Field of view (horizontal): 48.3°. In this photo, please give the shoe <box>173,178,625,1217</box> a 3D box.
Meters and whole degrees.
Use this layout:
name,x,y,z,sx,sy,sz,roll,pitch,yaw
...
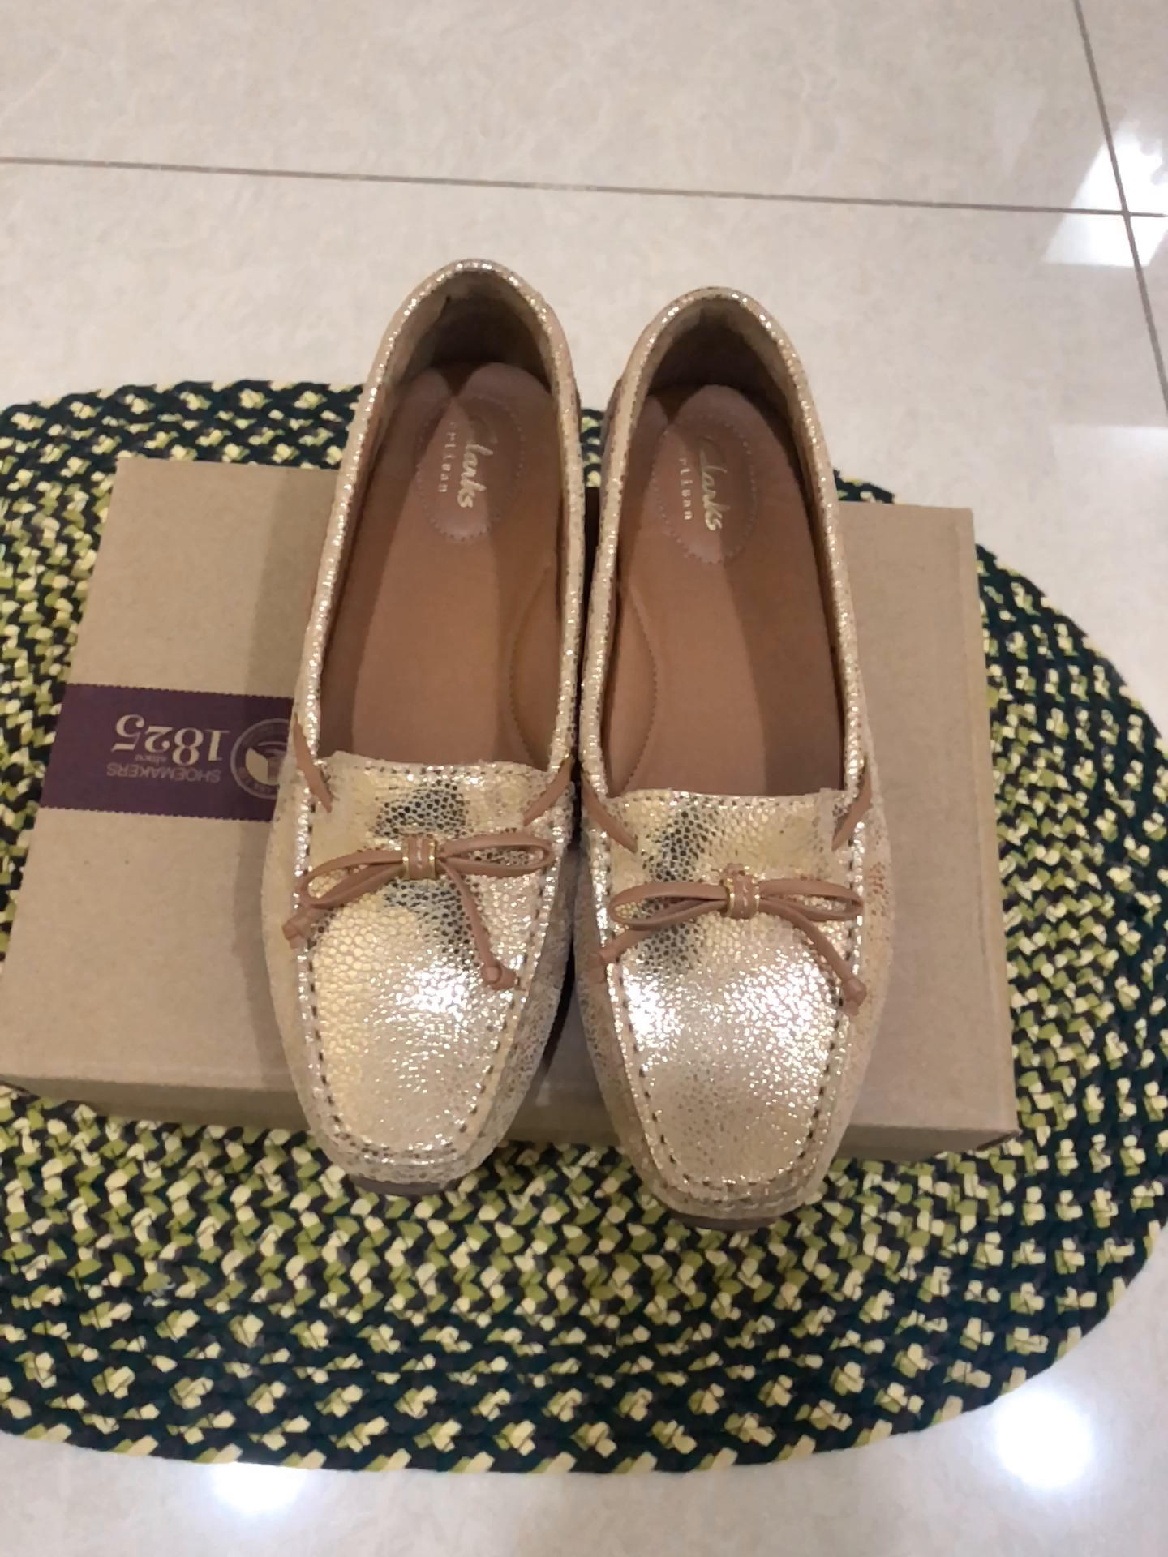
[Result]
name,x,y,z,sx,sy,sz,roll,pitch,yaw
shoe,-0.038,-0.032,0.354,0.090,0.060,0.280,3,67,-3

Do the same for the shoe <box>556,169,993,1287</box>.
name,x,y,z,sx,sy,sz,roll,pitch,yaw
shoe,0.044,-0.027,0.362,0.090,0.060,0.310,3,67,-3
